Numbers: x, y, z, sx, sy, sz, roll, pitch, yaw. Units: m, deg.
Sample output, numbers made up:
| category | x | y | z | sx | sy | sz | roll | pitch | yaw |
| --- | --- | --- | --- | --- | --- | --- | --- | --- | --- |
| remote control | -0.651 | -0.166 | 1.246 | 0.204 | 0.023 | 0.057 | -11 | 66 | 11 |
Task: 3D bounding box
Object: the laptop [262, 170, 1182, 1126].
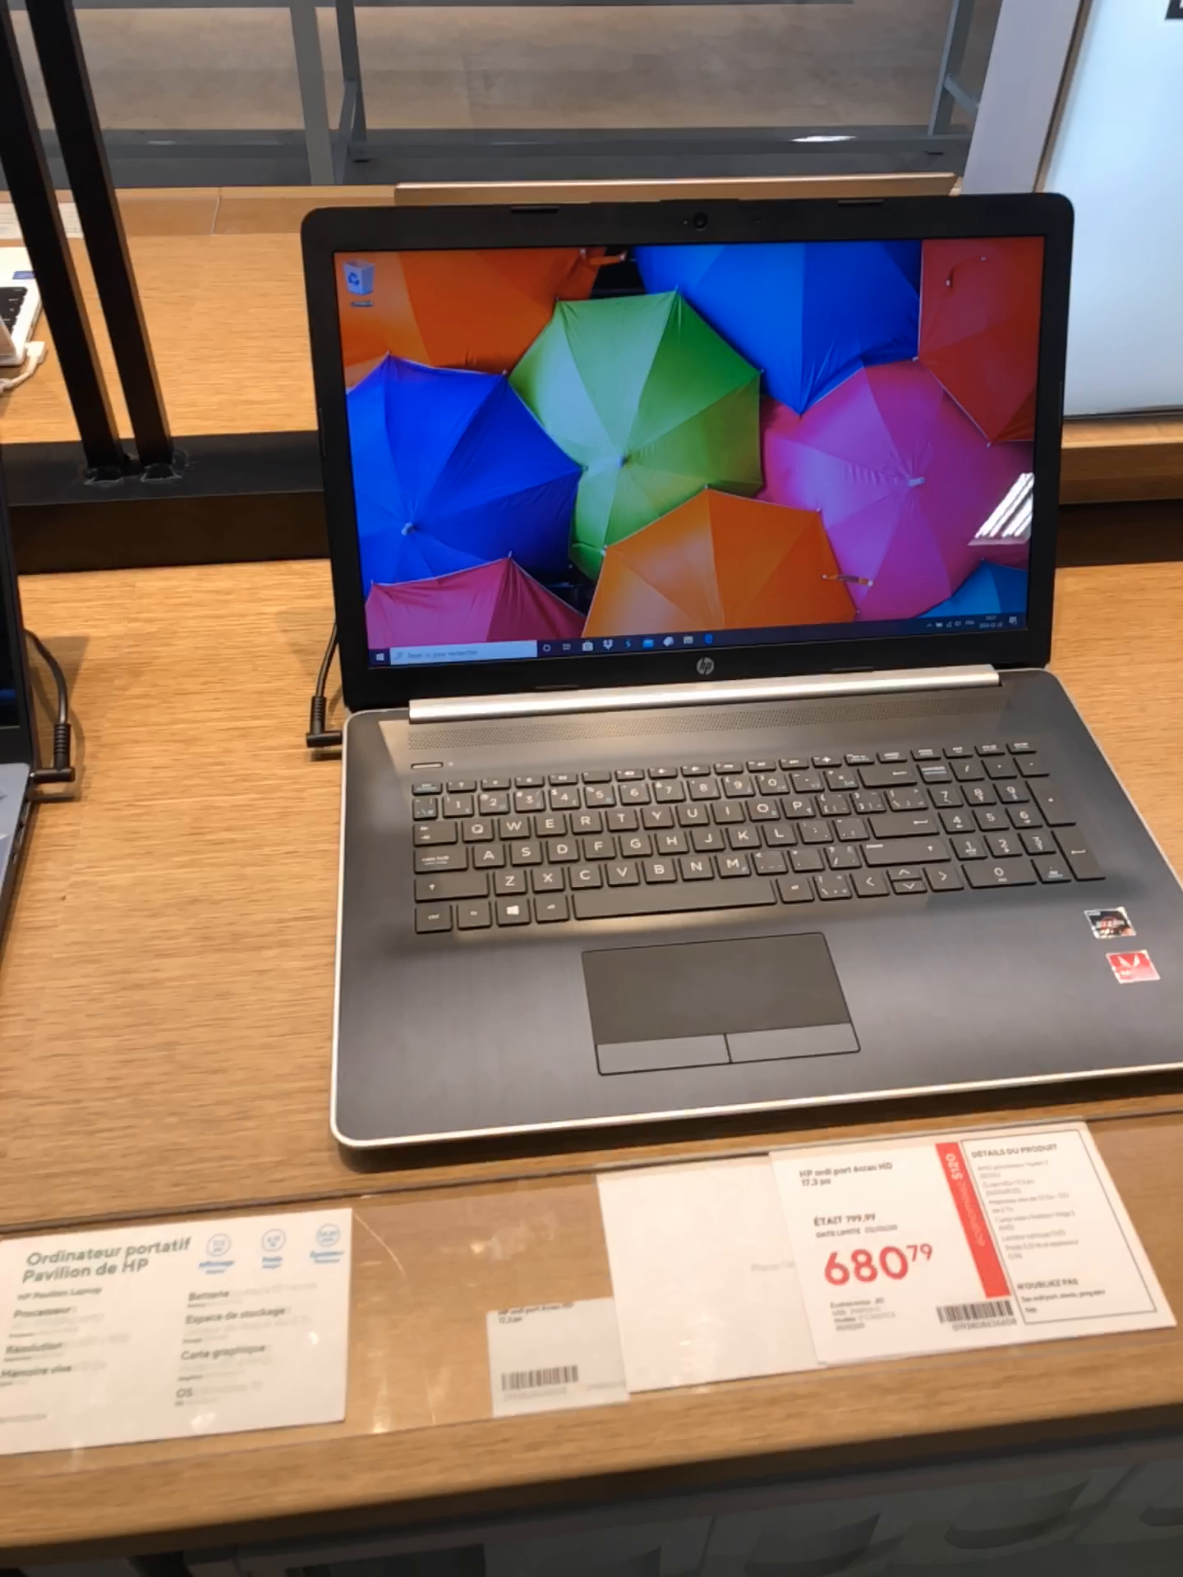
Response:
| category | x | y | z | sx | sy | sz | roll | pitch | yaw |
| --- | --- | --- | --- | --- | --- | --- | --- | --- | --- |
| laptop | 0.073 | -0.097 | 0.619 | 0.399 | 0.217 | 0.399 | -4 | 47 | -6 |
